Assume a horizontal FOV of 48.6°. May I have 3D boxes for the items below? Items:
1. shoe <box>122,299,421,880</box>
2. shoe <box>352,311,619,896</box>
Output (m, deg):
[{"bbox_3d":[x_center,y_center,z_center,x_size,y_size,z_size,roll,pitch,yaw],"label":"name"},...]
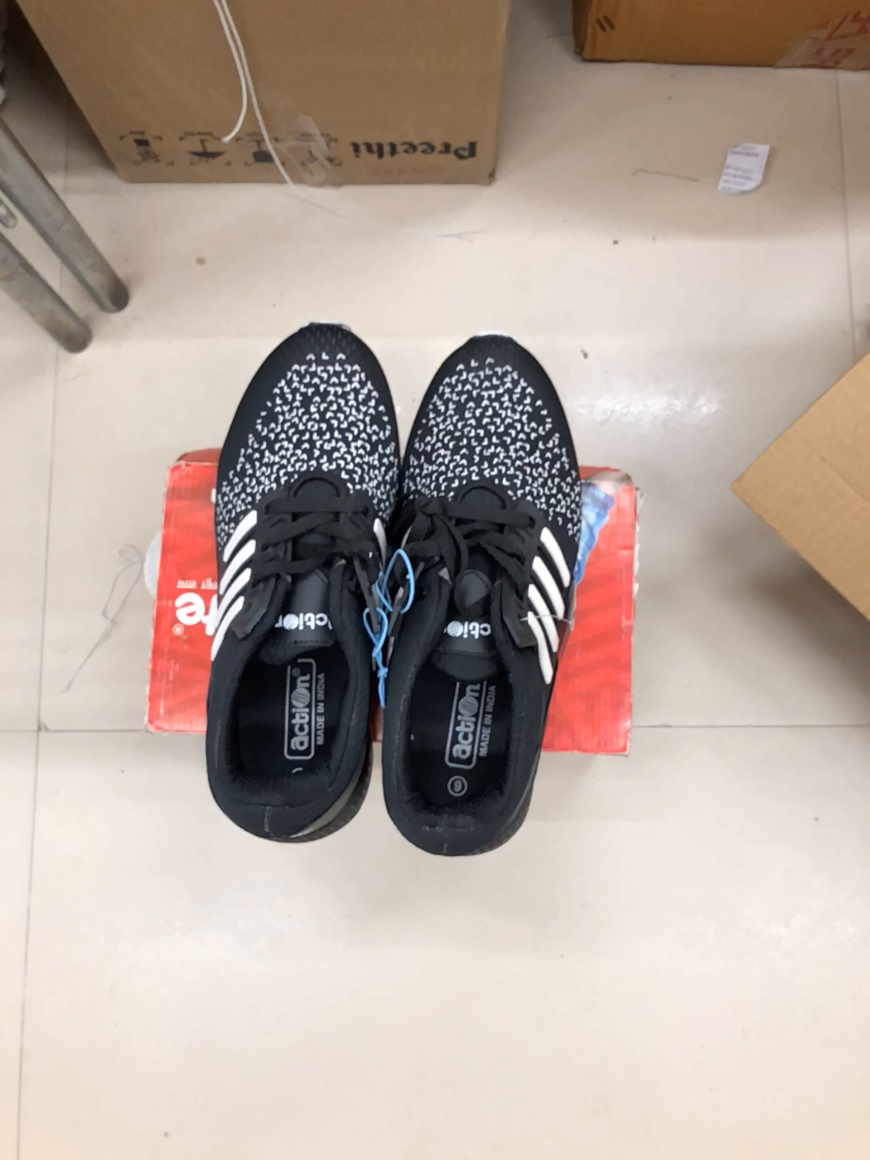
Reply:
[{"bbox_3d":[-0.074,0.005,0.502,0.111,0.103,0.267,4,82,1],"label":"shoe"},{"bbox_3d":[0.026,0.012,0.502,0.101,0.103,0.267,5,82,1],"label":"shoe"}]
